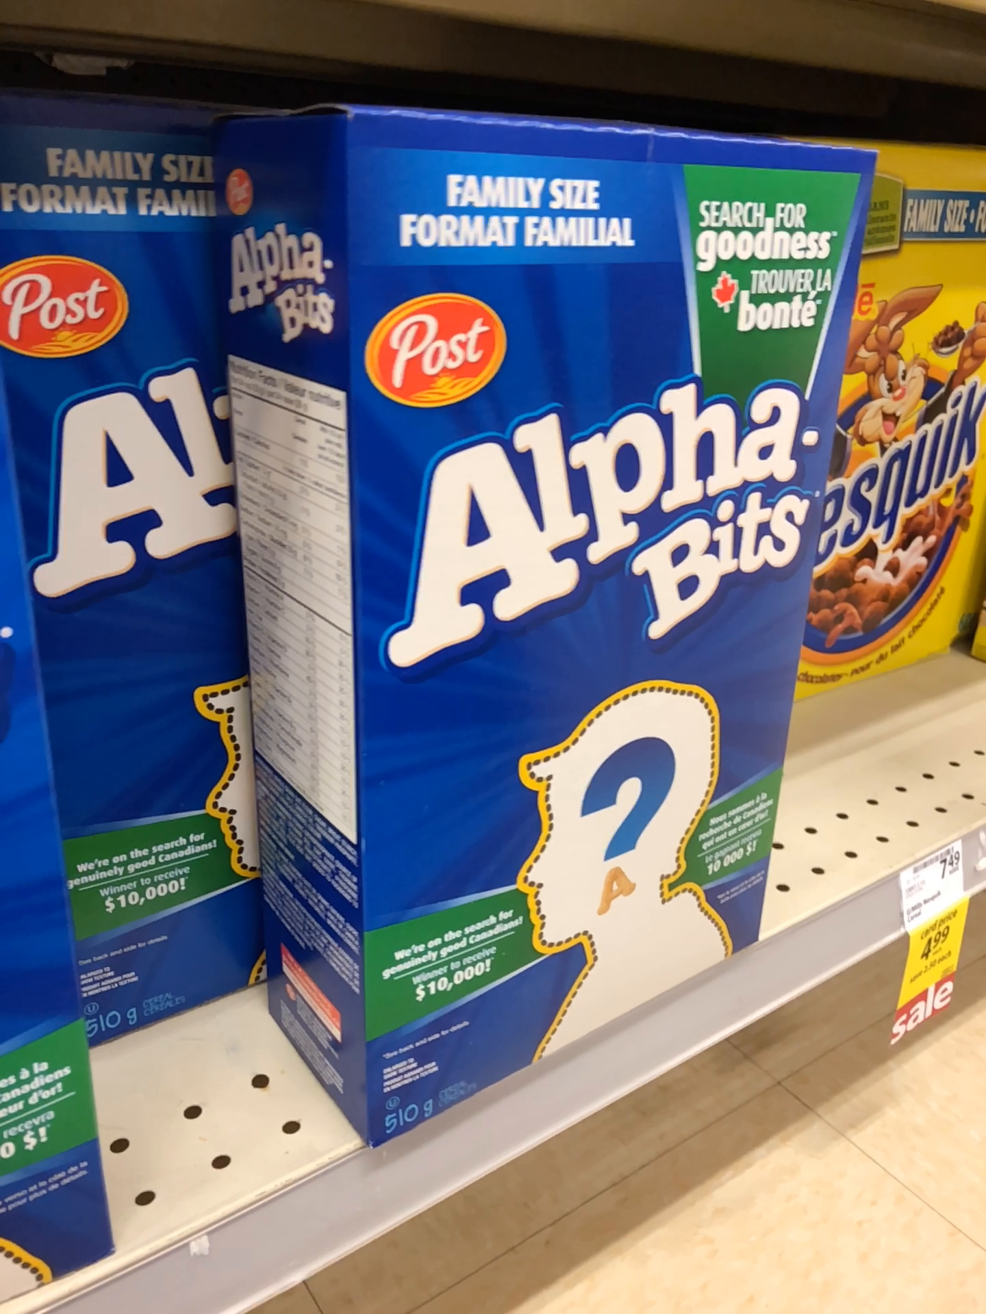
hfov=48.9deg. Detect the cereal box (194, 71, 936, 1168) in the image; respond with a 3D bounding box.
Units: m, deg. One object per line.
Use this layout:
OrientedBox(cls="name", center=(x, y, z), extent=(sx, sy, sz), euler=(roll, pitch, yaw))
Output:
OrientedBox(cls="cereal box", center=(0.026, -0.016, 0.366), extent=(0.210, 0.298, 0.080), euler=(-14, 27, -35))
